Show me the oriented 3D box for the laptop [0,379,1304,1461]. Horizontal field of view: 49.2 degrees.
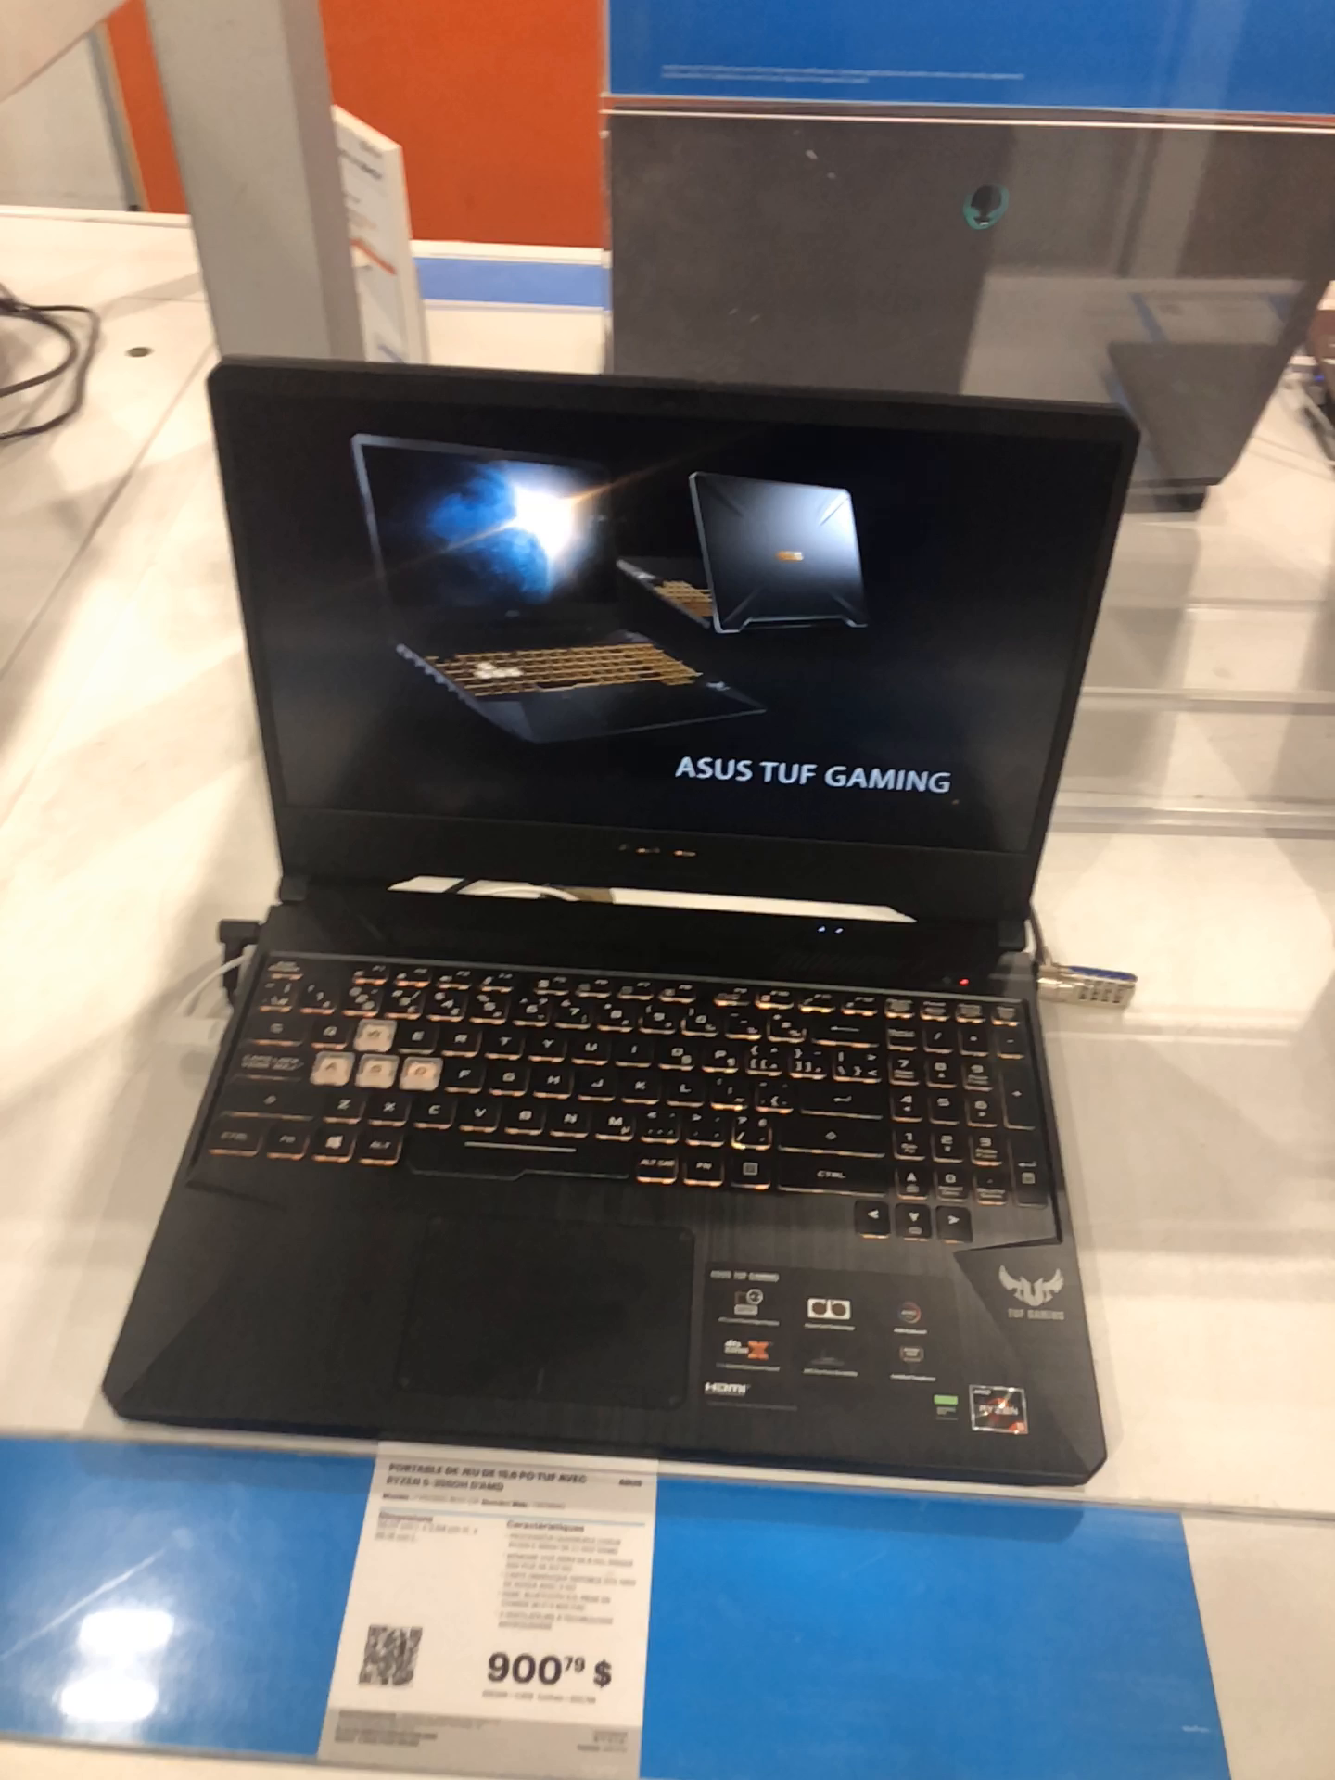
[{"bbox_3d":[-0.011,0.001,0.540,0.350,0.235,0.302,3,45,2],"label":"laptop"}]
